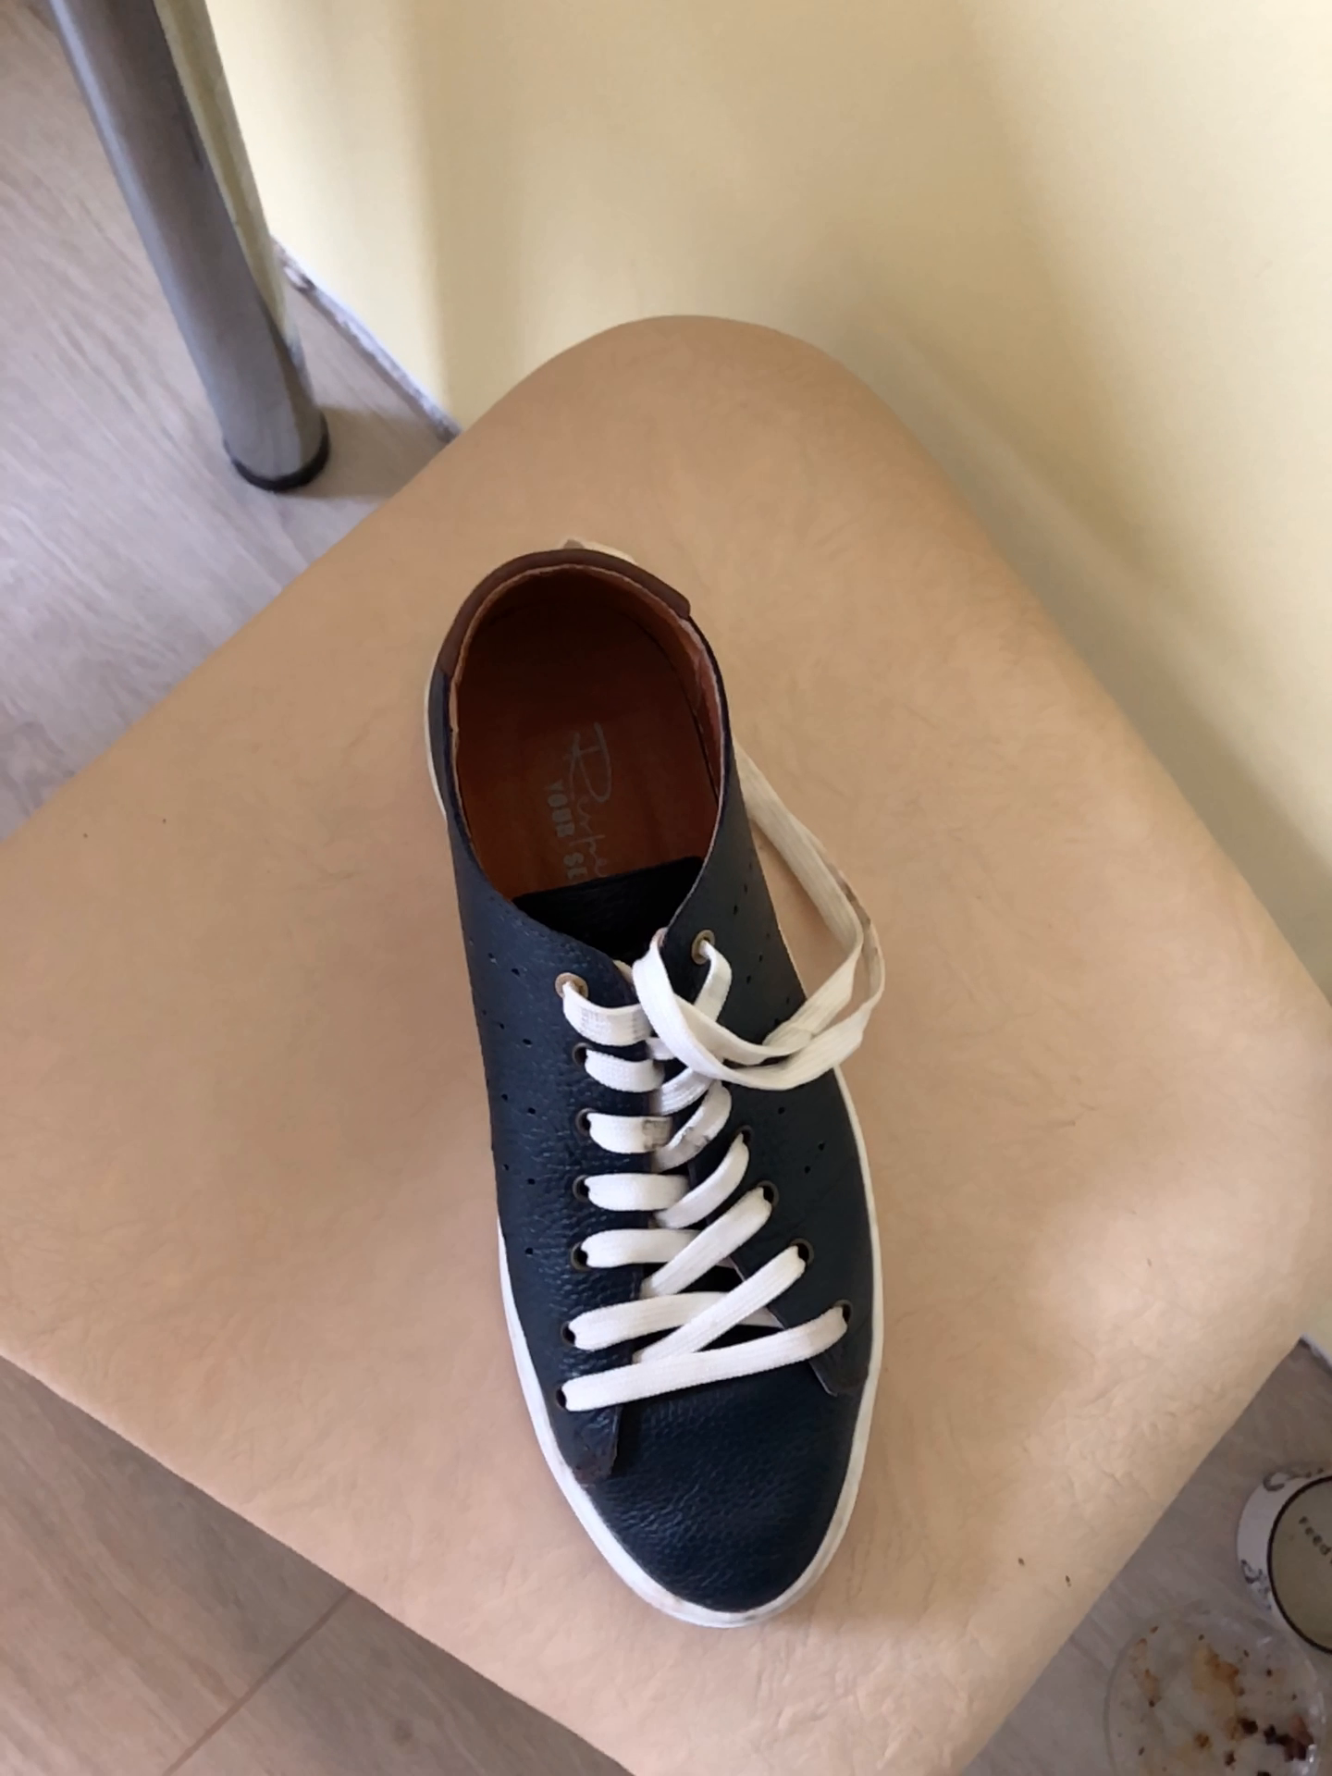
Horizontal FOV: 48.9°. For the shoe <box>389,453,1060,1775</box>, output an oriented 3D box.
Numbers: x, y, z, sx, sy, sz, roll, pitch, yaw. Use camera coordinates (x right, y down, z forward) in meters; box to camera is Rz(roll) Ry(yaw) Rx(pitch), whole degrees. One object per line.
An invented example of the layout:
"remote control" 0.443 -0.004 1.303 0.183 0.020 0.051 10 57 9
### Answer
"shoe" 0.005 0.047 0.382 0.110 0.090 0.290 -8 80 -8
